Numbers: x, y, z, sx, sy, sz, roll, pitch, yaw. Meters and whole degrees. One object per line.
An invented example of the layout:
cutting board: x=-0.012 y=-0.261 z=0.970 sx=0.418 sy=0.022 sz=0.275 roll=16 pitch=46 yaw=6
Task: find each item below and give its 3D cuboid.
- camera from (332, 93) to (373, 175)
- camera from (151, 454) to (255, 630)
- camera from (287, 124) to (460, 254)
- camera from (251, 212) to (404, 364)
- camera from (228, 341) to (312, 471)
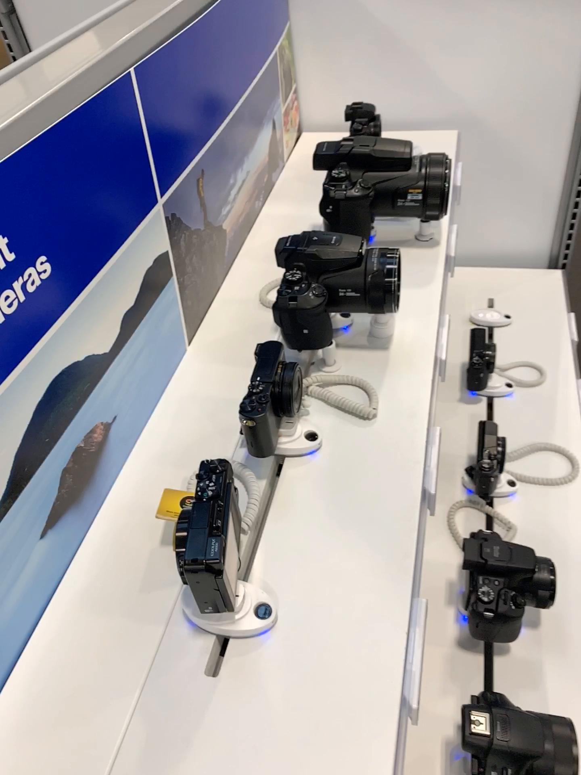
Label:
camera: x=0.112 y=-0.447 z=1.048 sx=0.060 sy=0.089 sz=0.121 roll=-1 pitch=45 yaw=10
camera: x=-0.067 y=0.125 z=0.493 sx=0.050 sy=0.070 sz=0.121 roll=-3 pitch=44 yaw=8
camera: x=0.125 y=-0.284 z=0.856 sx=0.220 sy=0.109 sz=0.161 roll=2 pitch=45 yaw=13
camera: x=0.053 y=-0.122 z=0.710 sx=0.150 sy=0.099 sz=0.161 roll=3 pitch=45 yaw=14
camera: x=-0.016 y=0.016 z=0.598 sx=0.050 sy=0.070 sz=0.110 roll=3 pitch=45 yaw=14
